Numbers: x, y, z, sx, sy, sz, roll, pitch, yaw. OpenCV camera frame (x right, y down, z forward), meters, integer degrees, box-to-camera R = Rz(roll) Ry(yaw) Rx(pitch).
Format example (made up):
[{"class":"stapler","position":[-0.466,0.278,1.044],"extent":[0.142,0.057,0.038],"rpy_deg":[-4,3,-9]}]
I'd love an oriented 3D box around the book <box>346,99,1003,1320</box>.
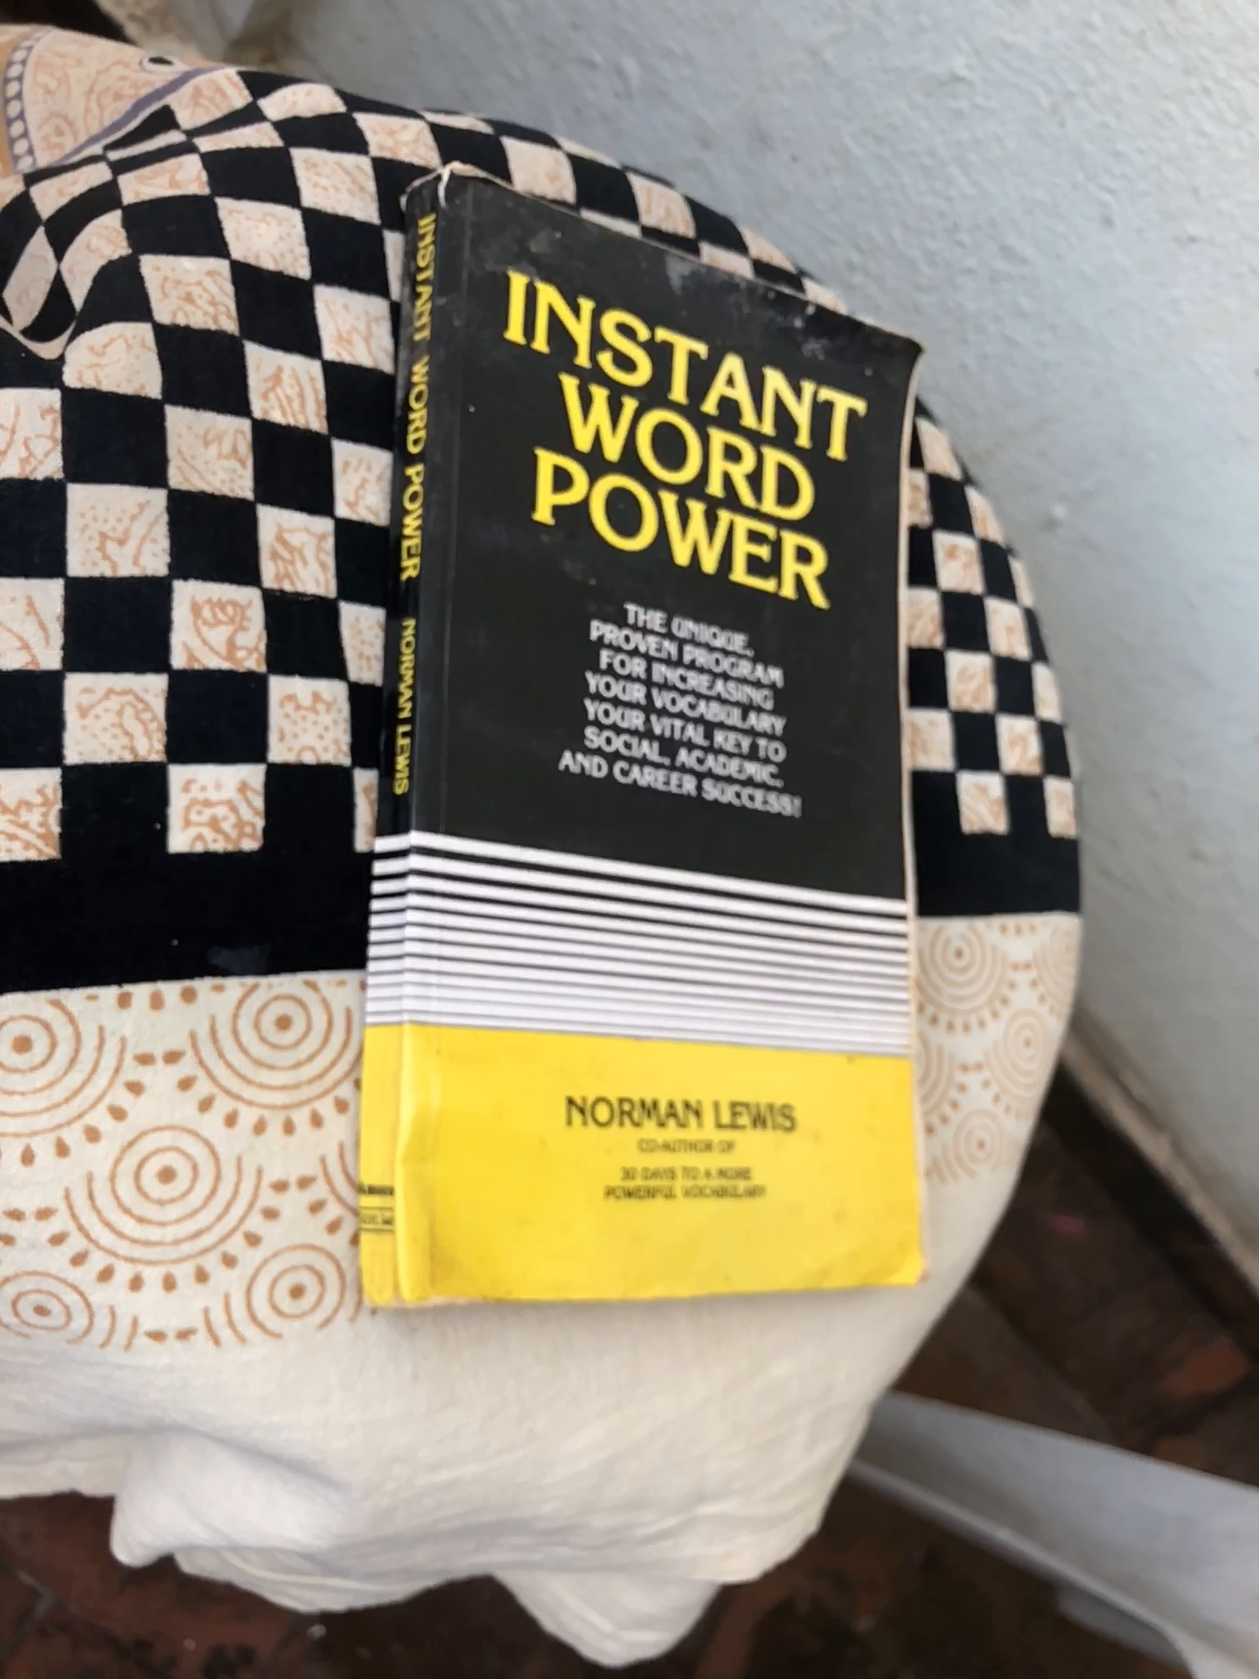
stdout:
[{"class":"book","position":[0.014,-0.032,0.380],"extent":[0.161,0.040,0.300],"rpy_deg":[11,68,-32]}]
